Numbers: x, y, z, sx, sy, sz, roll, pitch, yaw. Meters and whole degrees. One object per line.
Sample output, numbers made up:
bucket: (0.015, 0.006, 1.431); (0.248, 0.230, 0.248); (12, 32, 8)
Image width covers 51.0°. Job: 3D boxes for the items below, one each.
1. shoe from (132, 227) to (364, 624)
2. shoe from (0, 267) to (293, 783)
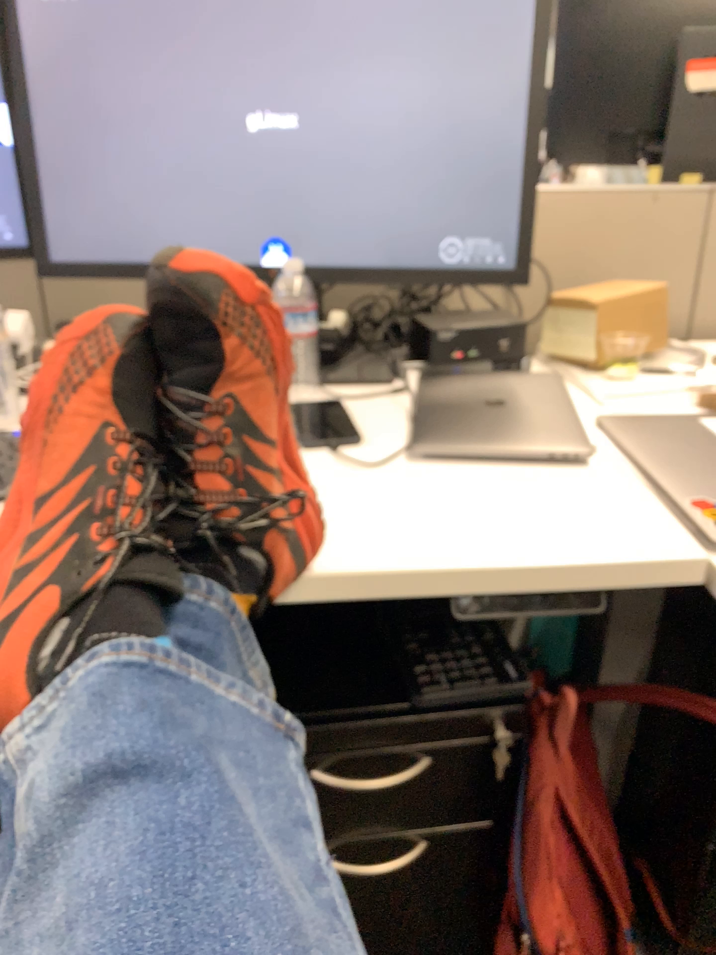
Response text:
shoe: (-0.072, -0.038, 0.558); (0.107, 0.271, 0.083); (9, 28, 26)
shoe: (-0.160, 0.022, 0.486); (0.133, 0.289, 0.091); (12, -8, 29)
